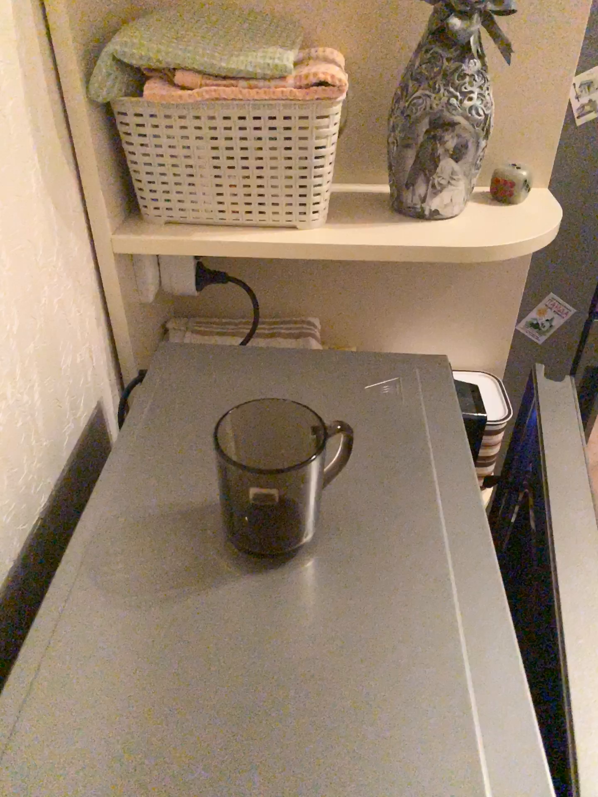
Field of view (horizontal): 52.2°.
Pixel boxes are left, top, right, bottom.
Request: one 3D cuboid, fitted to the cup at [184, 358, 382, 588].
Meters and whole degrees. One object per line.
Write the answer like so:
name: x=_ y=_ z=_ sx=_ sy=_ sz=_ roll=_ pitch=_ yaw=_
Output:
cup: x=-0.009 y=0.047 z=0.418 sx=0.078 sy=0.094 sz=0.102 roll=30 pitch=46 yaw=33
